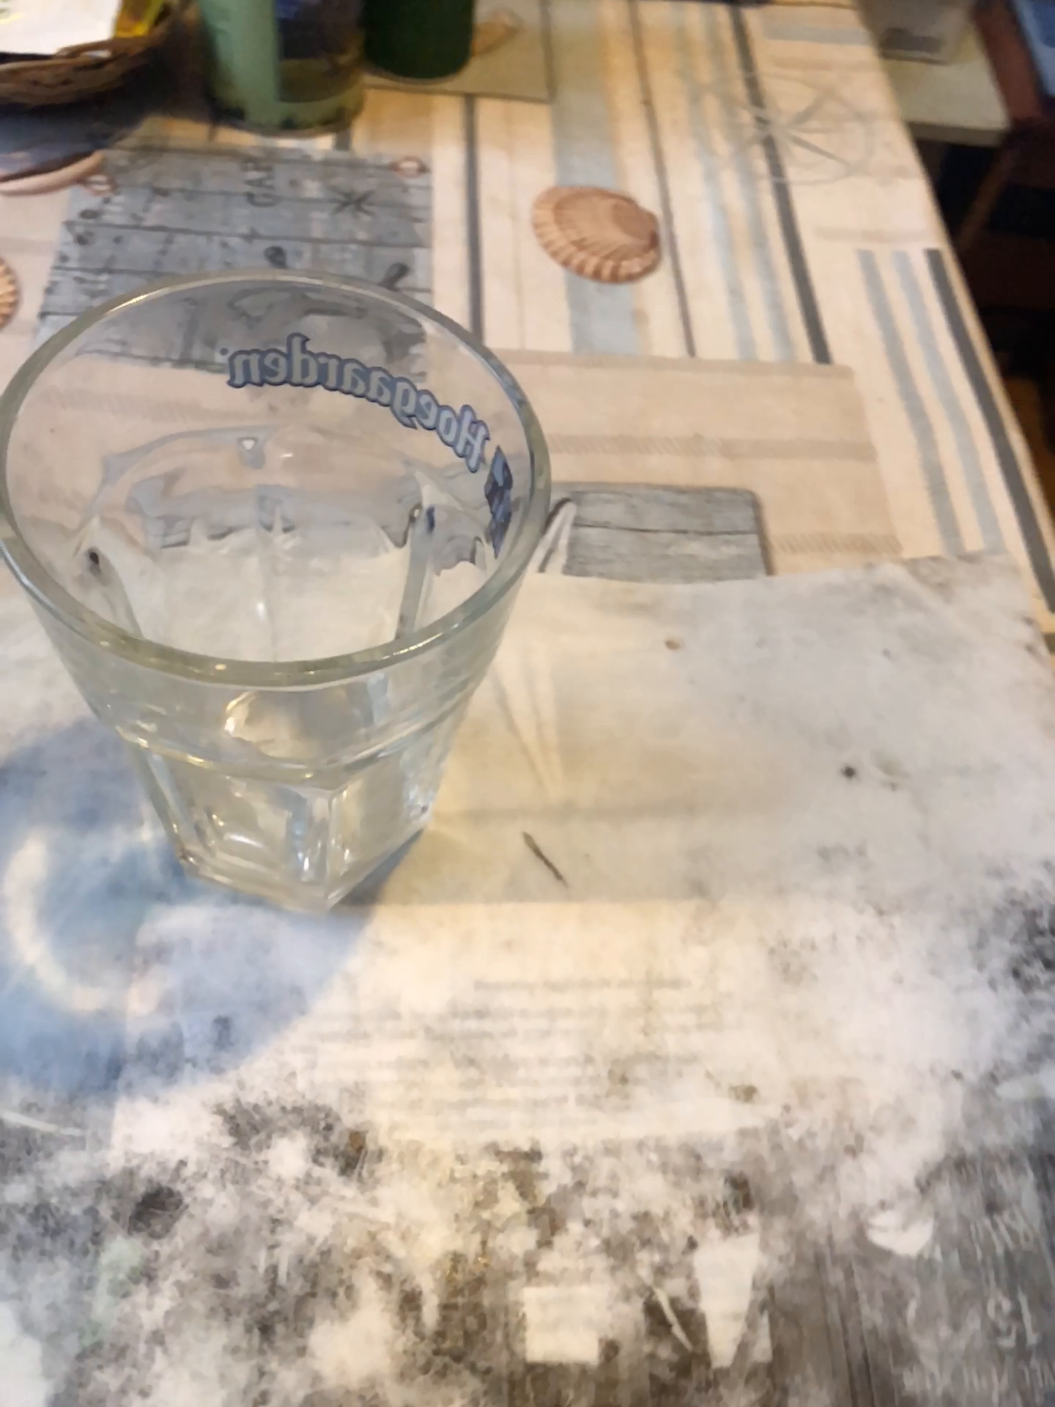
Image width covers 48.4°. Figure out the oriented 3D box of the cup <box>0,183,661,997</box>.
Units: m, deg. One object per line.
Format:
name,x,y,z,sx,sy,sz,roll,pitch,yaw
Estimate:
cup,-0.047,-0.017,0.261,0.098,0.123,0.099,6,58,-9
